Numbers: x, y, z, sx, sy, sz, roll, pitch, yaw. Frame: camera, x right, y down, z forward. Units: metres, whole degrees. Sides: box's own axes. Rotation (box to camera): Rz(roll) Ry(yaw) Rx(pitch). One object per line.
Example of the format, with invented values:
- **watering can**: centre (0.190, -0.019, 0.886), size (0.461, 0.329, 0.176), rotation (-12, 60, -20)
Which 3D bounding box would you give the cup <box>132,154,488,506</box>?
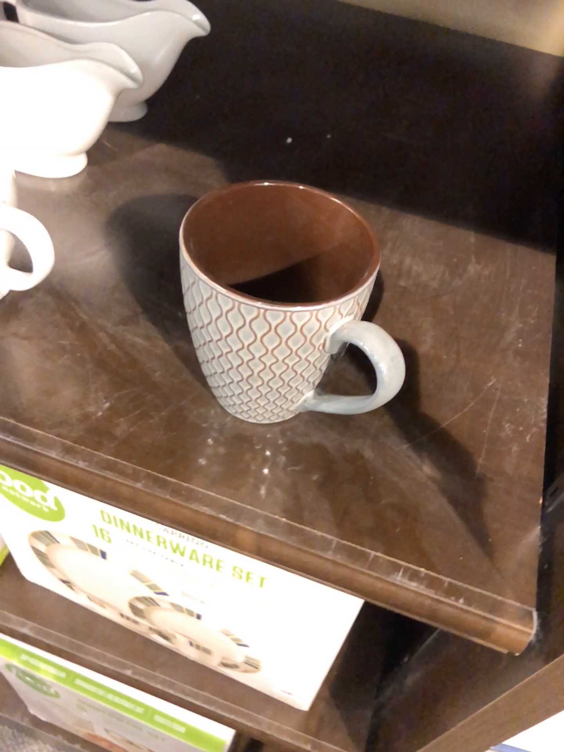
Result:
- **cup**: centre (0.010, -0.024, 0.316), size (0.132, 0.098, 0.085), rotation (31, 56, 17)
